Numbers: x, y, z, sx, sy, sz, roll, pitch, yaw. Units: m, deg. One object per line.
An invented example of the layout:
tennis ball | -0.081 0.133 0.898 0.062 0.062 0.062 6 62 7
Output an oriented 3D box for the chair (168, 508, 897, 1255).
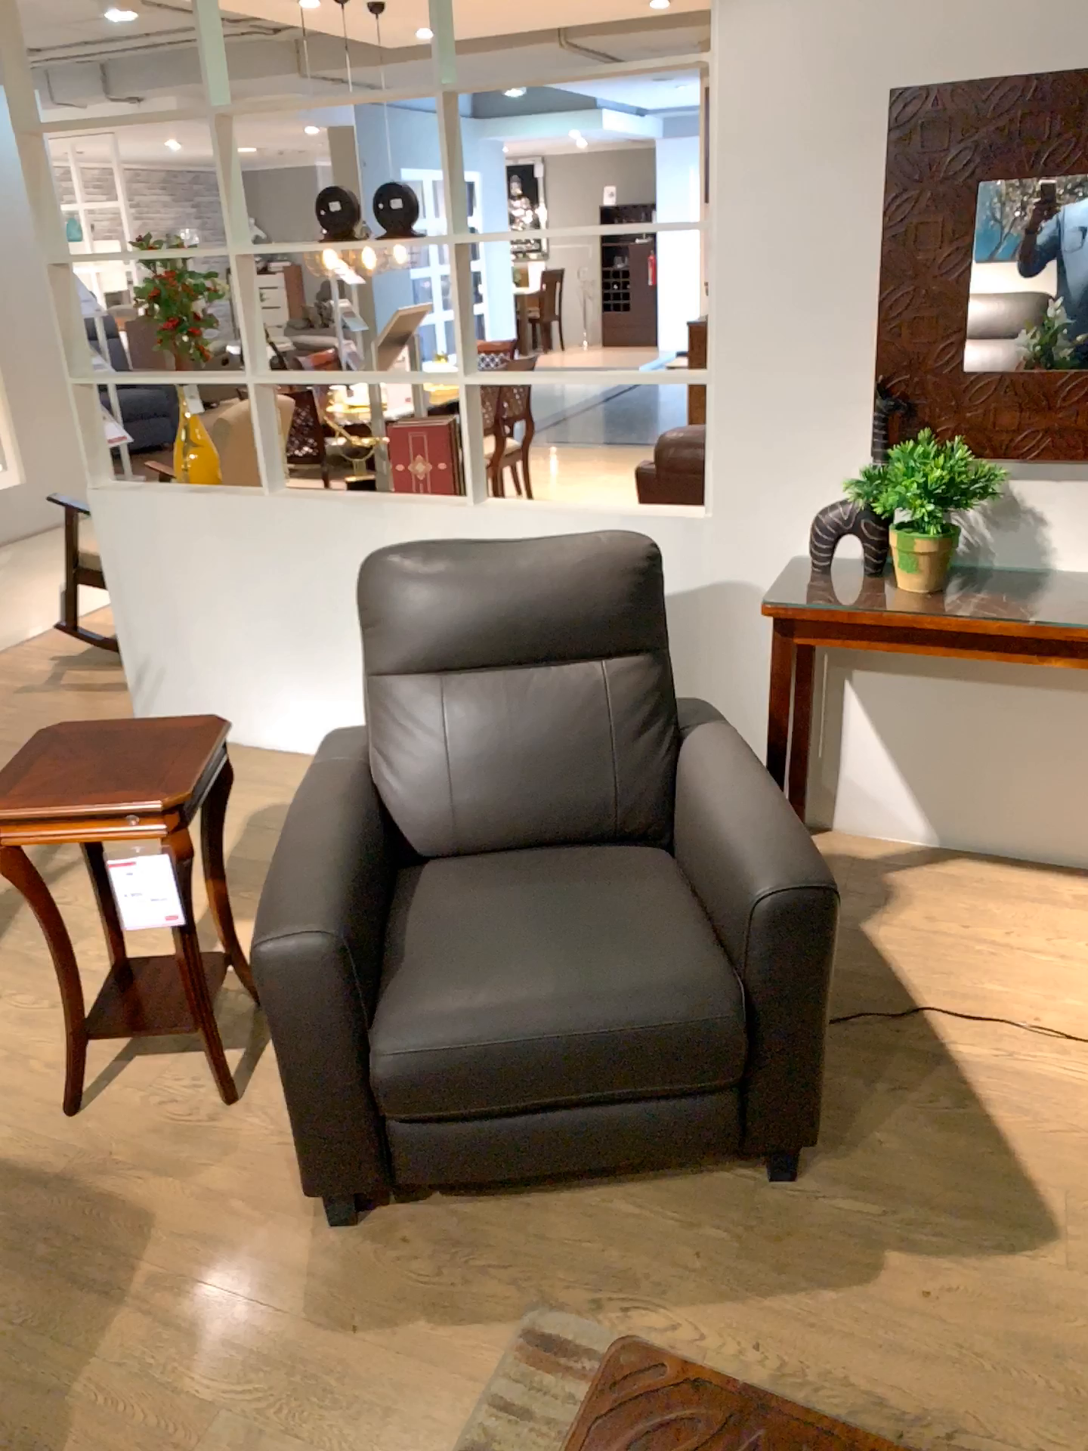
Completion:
chair | -0.022 0.196 2.035 0.940 0.926 0.924 -4 24 -3
